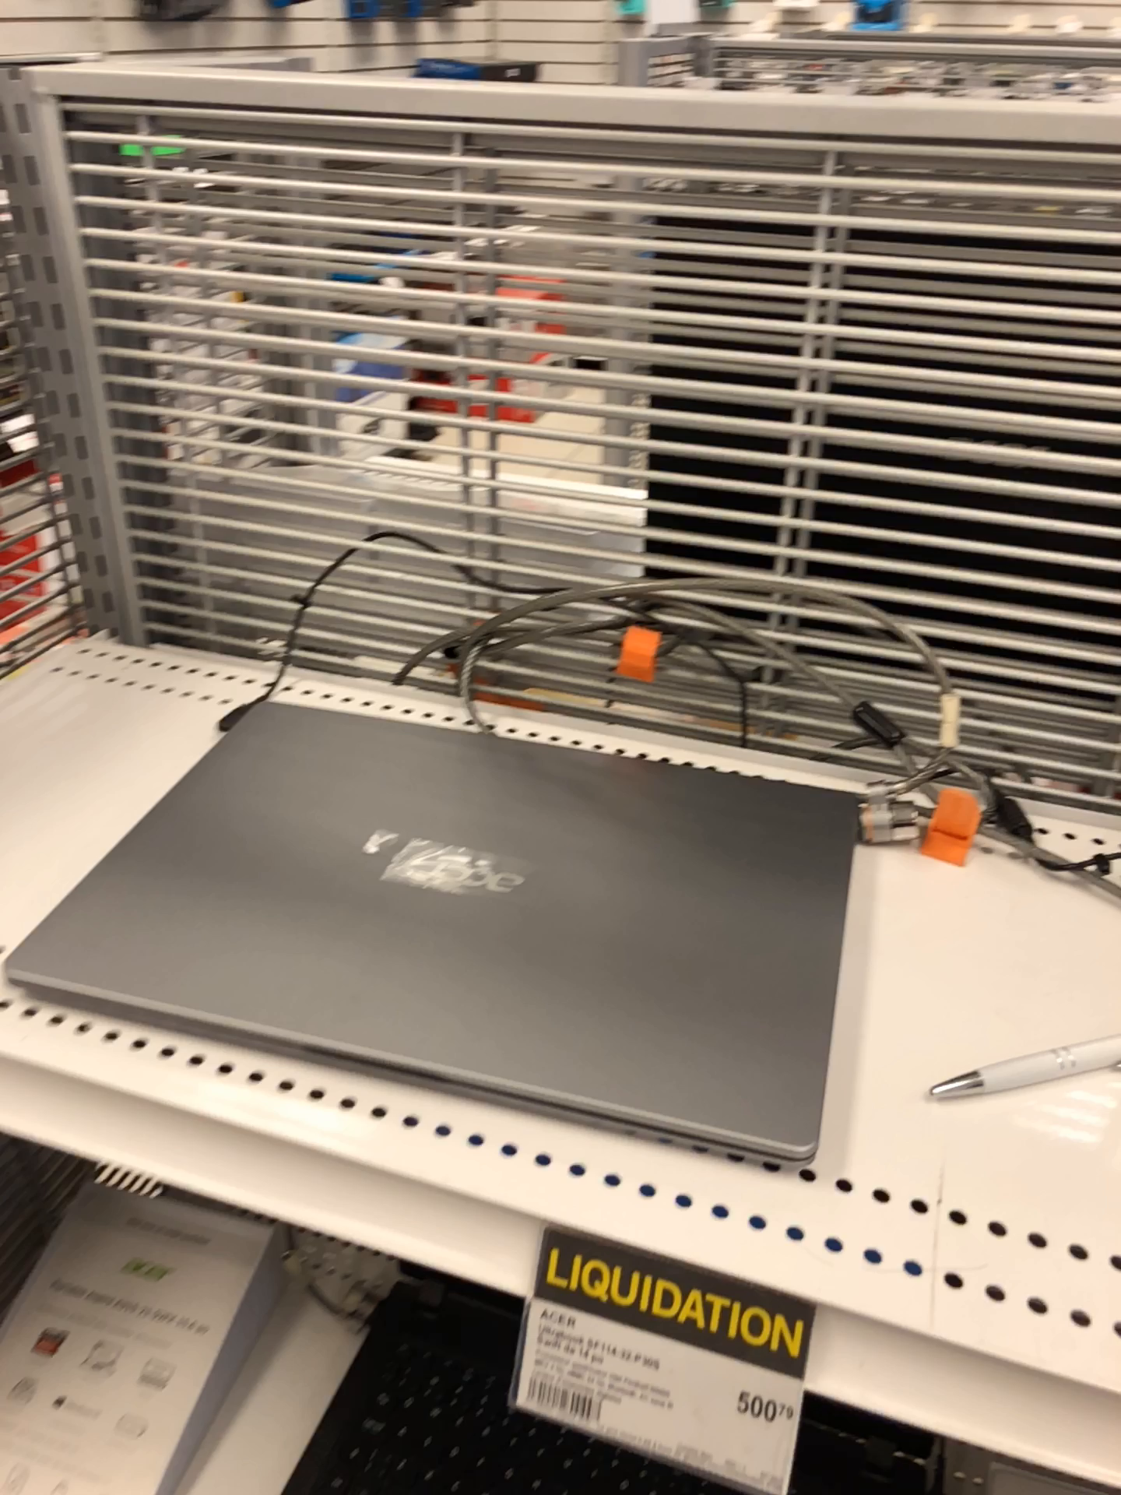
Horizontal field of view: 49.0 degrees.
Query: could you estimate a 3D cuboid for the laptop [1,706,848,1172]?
[{"bbox_3d":[-0.043,0.061,0.547,0.316,0.006,0.220,9,34,14],"label":"laptop"}]
